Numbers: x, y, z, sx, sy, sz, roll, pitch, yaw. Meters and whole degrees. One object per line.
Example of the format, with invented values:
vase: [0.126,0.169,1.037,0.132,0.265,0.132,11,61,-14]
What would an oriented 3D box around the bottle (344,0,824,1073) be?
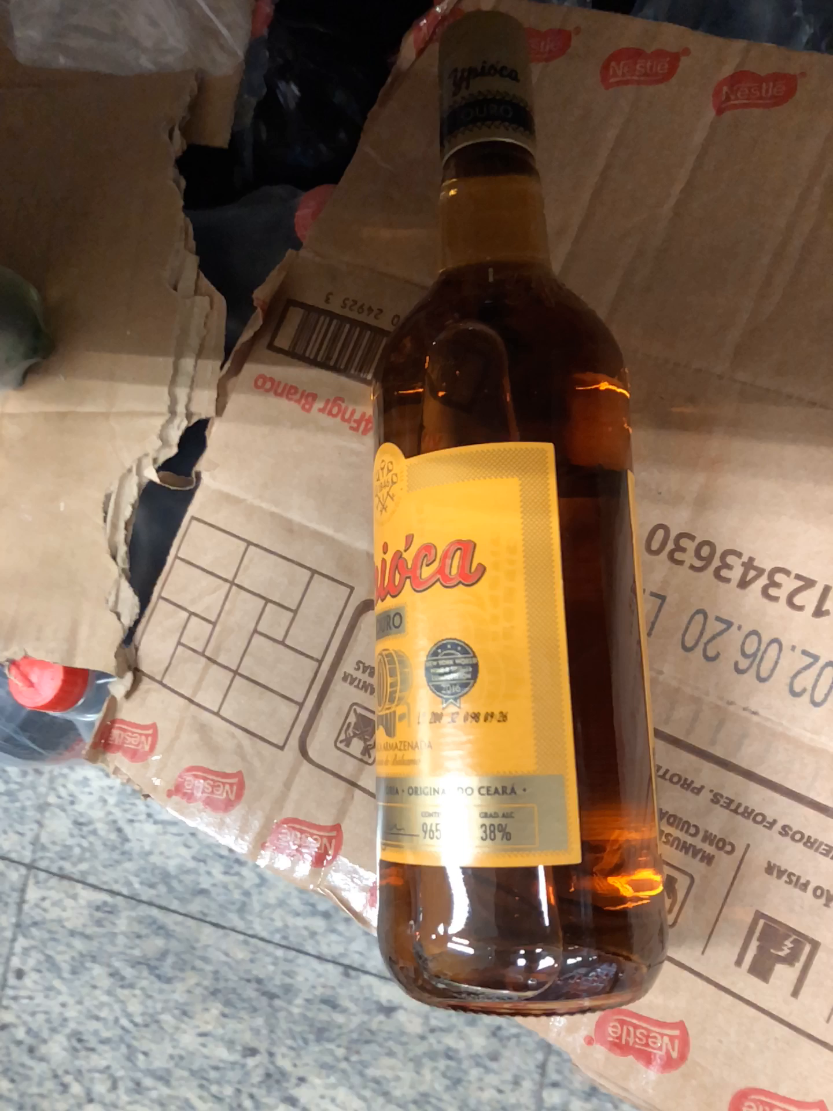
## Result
bottle: [0.035,-0.037,0.271,0.090,0.080,0.310,2,78,-19]
